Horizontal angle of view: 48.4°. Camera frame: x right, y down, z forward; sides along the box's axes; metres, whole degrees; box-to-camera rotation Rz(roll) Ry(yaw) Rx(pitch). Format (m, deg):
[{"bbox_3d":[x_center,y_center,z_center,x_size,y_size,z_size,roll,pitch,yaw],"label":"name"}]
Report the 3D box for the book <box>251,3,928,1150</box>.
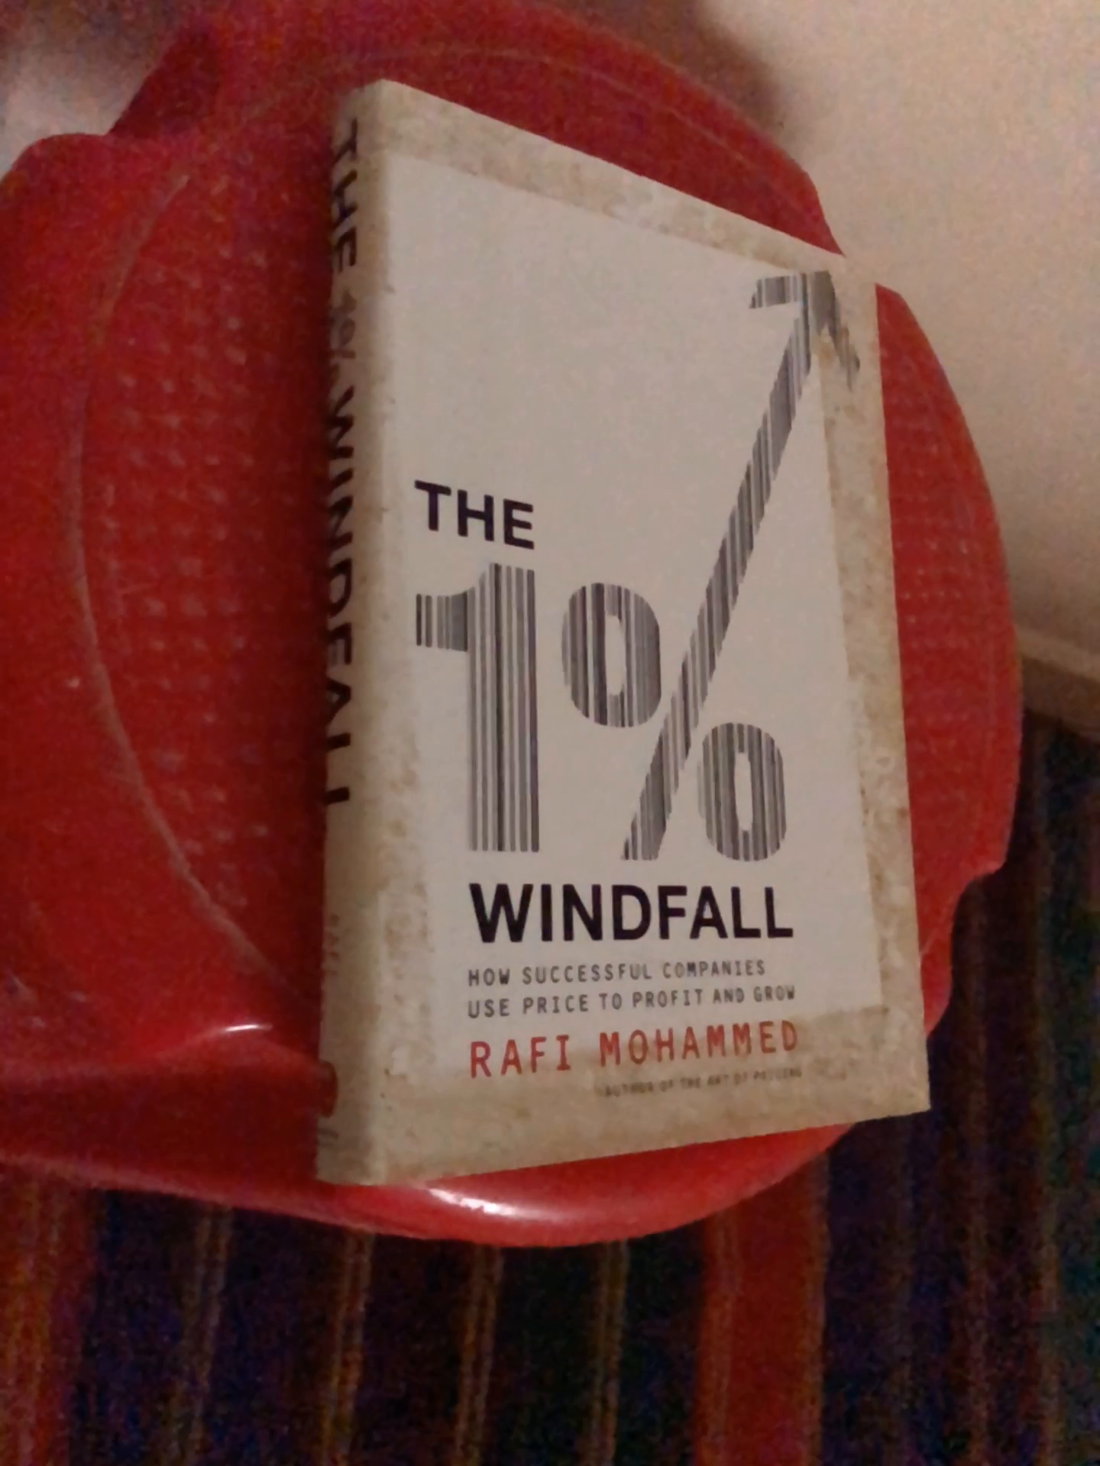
[{"bbox_3d":[0.017,-0.034,0.332,0.181,0.040,0.260,5,78,-33],"label":"book"}]
